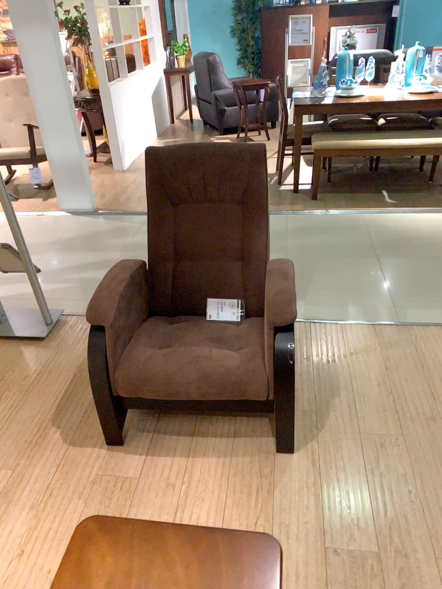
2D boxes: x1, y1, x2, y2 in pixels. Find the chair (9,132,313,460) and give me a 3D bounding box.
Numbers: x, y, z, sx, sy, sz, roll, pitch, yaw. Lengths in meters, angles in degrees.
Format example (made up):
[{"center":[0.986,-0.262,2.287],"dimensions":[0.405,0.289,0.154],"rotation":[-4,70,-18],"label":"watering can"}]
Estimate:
[{"center":[-0.095,-0.063,1.814],"dimensions":[0.800,0.886,1.004],"rotation":[0,32,7],"label":"chair"}]
